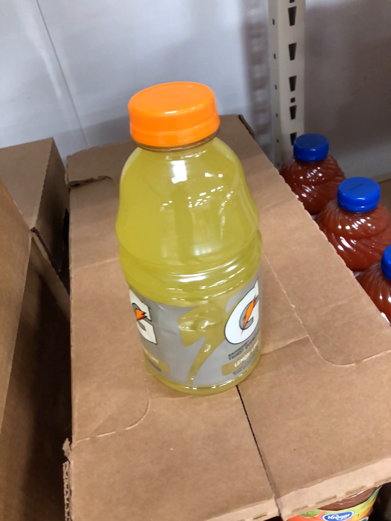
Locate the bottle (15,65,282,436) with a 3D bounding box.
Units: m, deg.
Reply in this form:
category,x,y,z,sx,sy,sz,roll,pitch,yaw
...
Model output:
category,x,y,z,sx,sy,sz,roll,pitch,yaw
bottle,-0.011,0.002,0.288,0.100,0.210,0.090,-38,48,-27
